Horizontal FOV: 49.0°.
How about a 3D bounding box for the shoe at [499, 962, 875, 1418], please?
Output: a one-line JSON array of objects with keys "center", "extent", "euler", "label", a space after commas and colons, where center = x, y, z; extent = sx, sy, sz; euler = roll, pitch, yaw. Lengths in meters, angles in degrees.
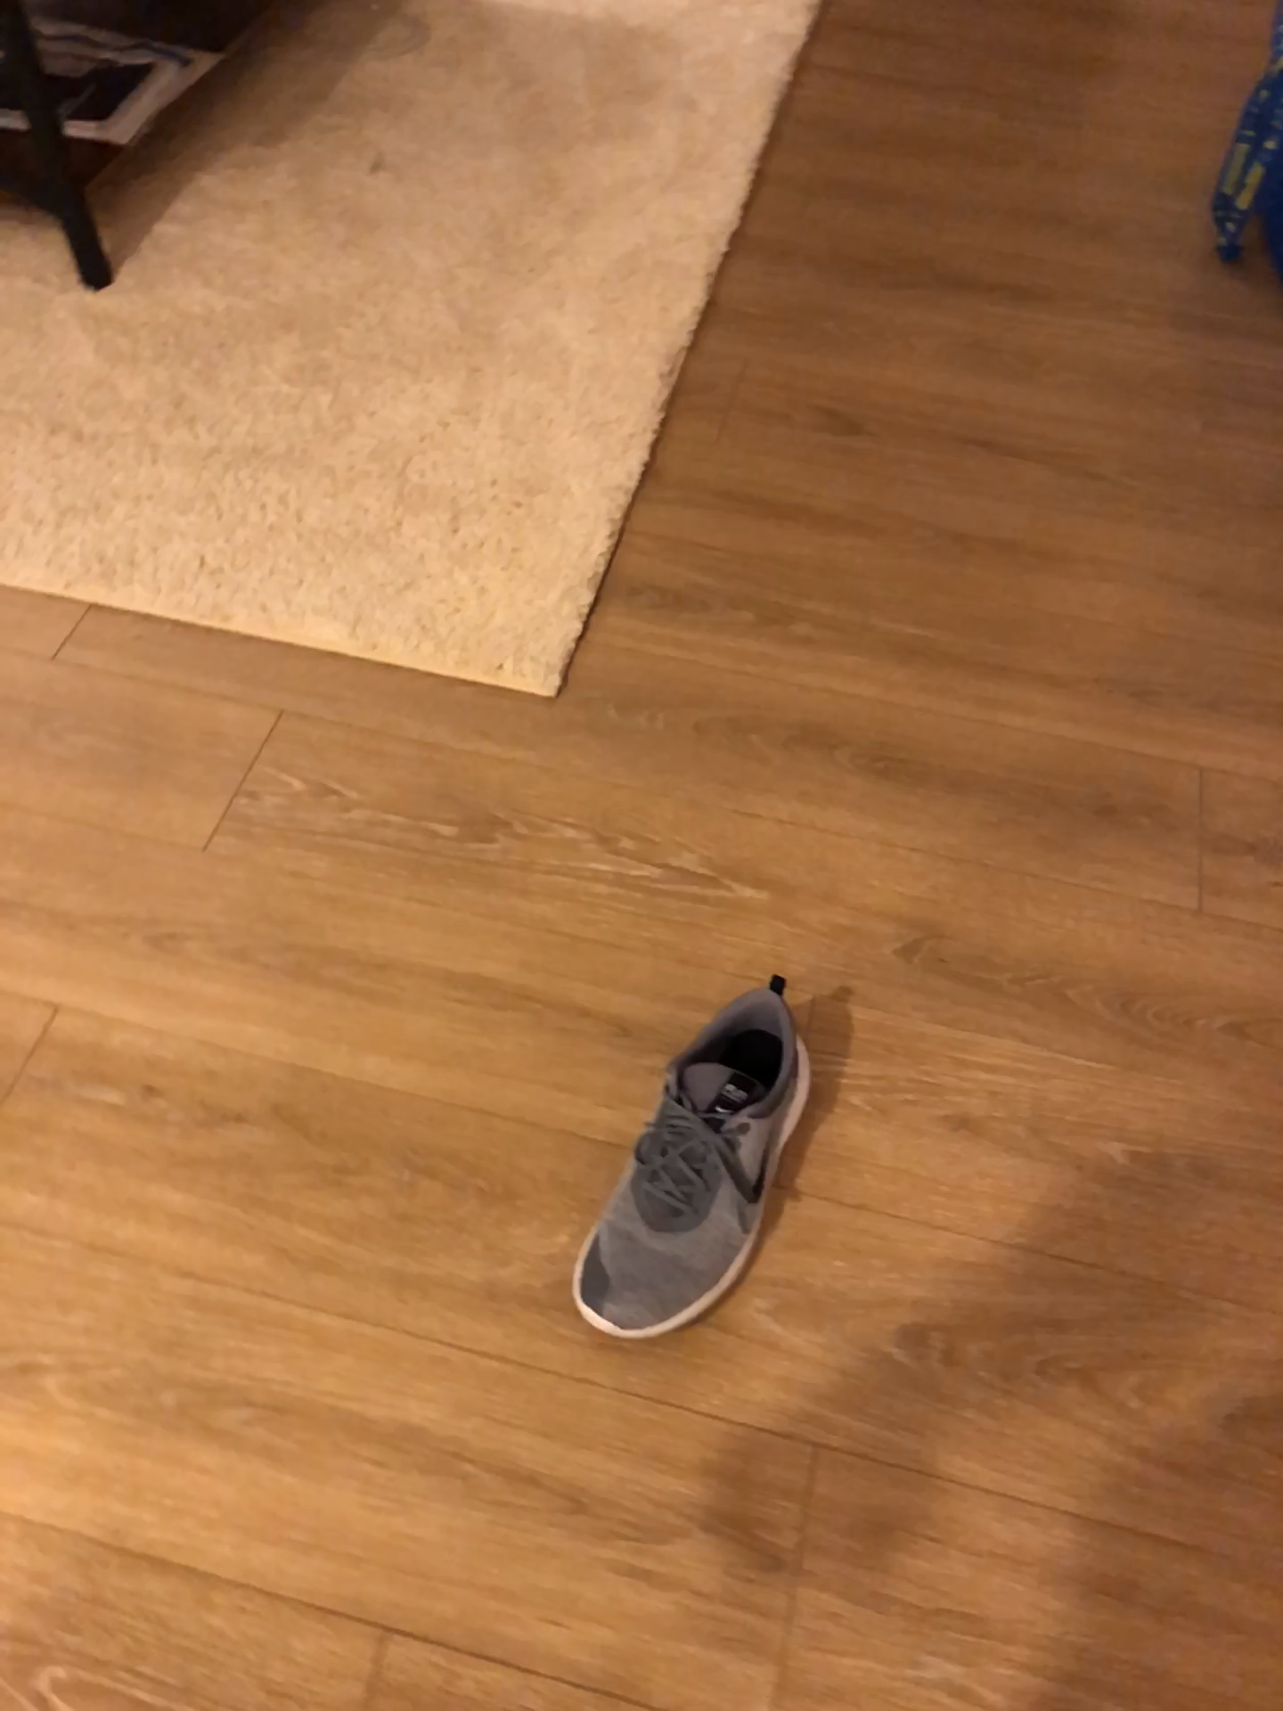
[{"center": [0.040, 0.243, 1.067], "extent": [0.140, 0.090, 0.301], "euler": [28, 56, 18], "label": "shoe"}]
